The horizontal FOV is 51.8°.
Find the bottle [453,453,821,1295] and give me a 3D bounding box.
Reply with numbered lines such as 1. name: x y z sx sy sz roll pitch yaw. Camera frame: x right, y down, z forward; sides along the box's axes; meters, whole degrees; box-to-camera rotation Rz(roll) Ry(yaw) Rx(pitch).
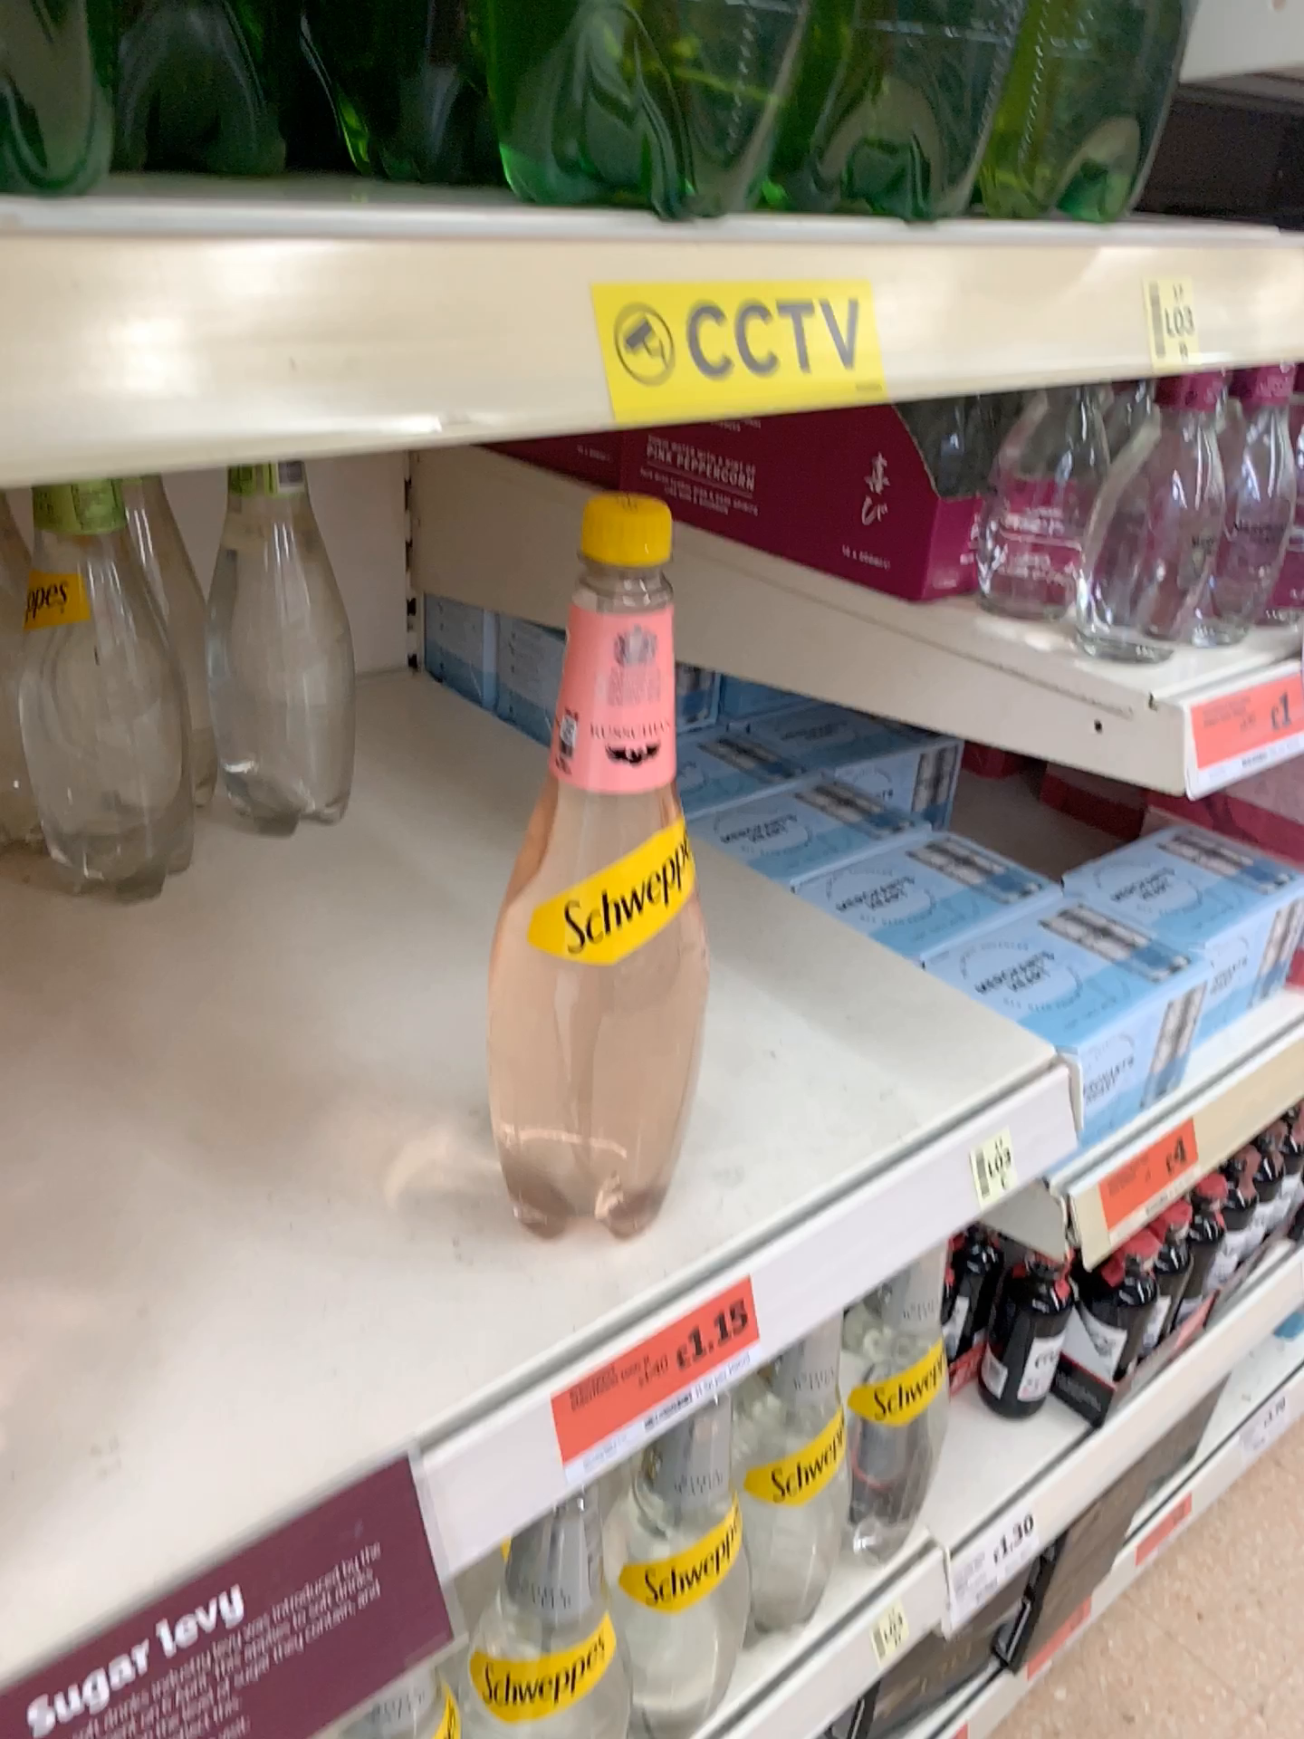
1. bottle: -0.017 0.007 0.510 0.085 0.299 0.090 4 28 -2
